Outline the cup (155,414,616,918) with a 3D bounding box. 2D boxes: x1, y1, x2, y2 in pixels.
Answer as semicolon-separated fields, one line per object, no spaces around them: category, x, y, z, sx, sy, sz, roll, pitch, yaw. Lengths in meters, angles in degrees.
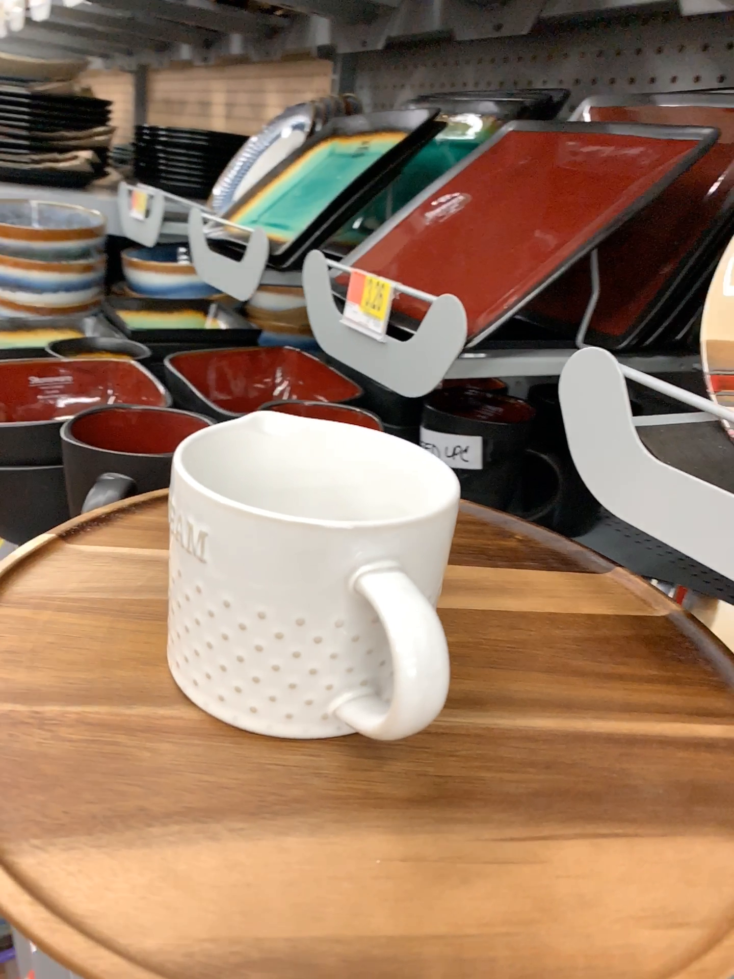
cup;-0.011;0.041;0.271;0.100;0.090;0.151;-4;26;-25
